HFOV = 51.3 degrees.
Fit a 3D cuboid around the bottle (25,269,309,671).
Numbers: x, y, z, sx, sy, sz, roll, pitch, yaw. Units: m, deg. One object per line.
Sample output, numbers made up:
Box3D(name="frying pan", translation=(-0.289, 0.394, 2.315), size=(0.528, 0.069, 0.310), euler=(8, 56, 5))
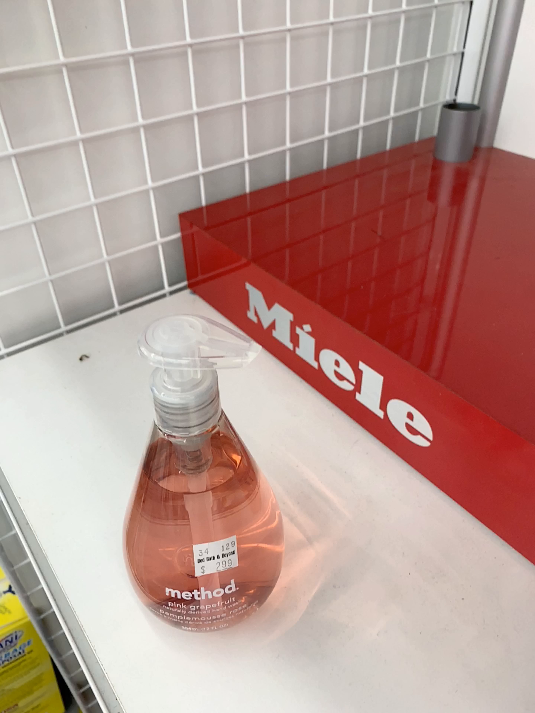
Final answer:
Box3D(name="bottle", translation=(-0.029, 0.055, 0.237), size=(0.080, 0.160, 0.078), euler=(-1, 38, 1))
